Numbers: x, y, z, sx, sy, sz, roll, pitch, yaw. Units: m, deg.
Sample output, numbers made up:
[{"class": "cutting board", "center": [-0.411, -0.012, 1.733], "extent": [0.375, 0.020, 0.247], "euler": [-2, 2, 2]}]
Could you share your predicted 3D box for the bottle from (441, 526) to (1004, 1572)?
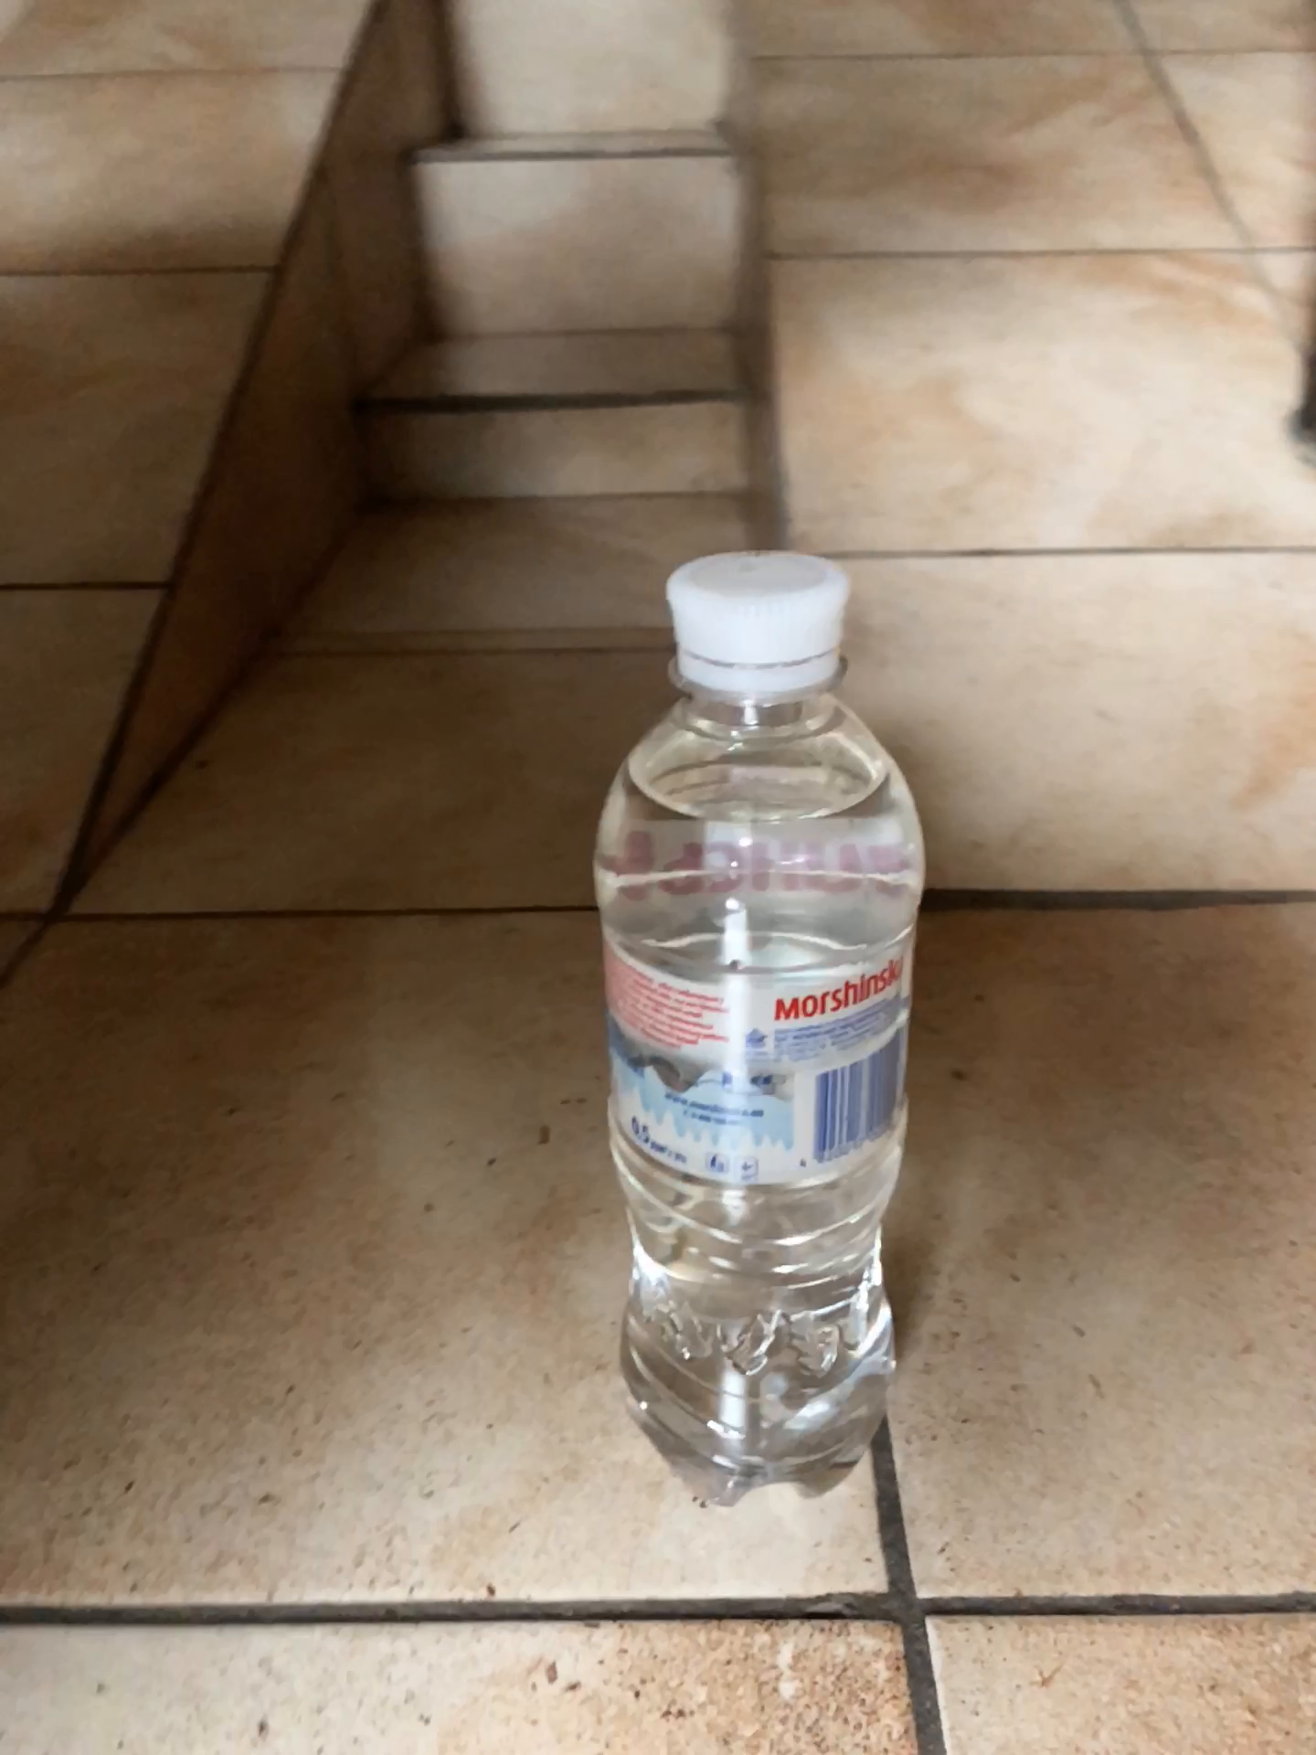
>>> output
[{"class": "bottle", "center": [0.019, 0.037, 0.311], "extent": [0.080, 0.199, 0.080], "euler": [-2, 29, 1]}]
